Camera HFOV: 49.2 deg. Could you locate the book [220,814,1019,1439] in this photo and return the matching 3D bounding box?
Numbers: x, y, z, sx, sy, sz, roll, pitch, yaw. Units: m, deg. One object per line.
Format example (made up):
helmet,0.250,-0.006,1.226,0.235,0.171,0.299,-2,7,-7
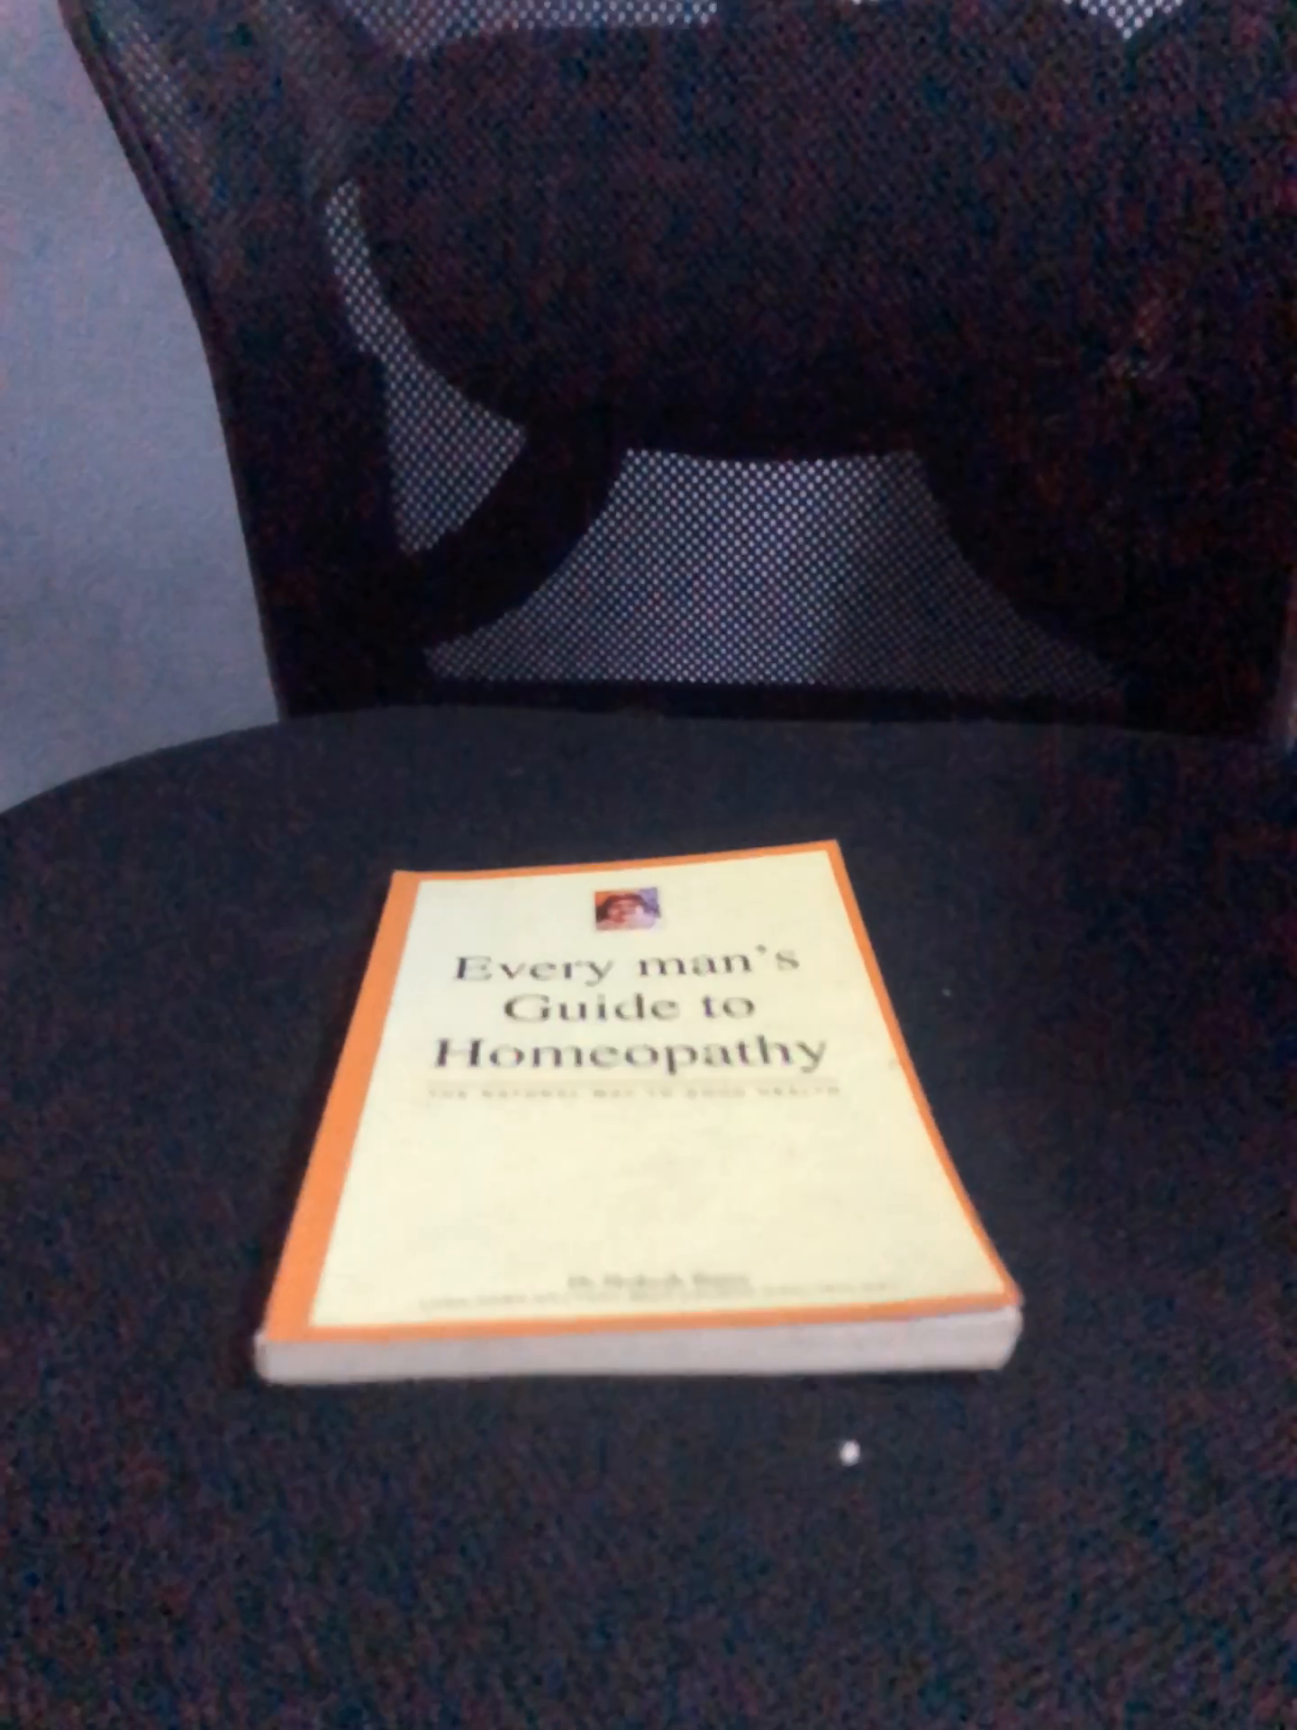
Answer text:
book,-0.008,0.044,0.348,0.140,0.026,0.208,-3,25,-1
